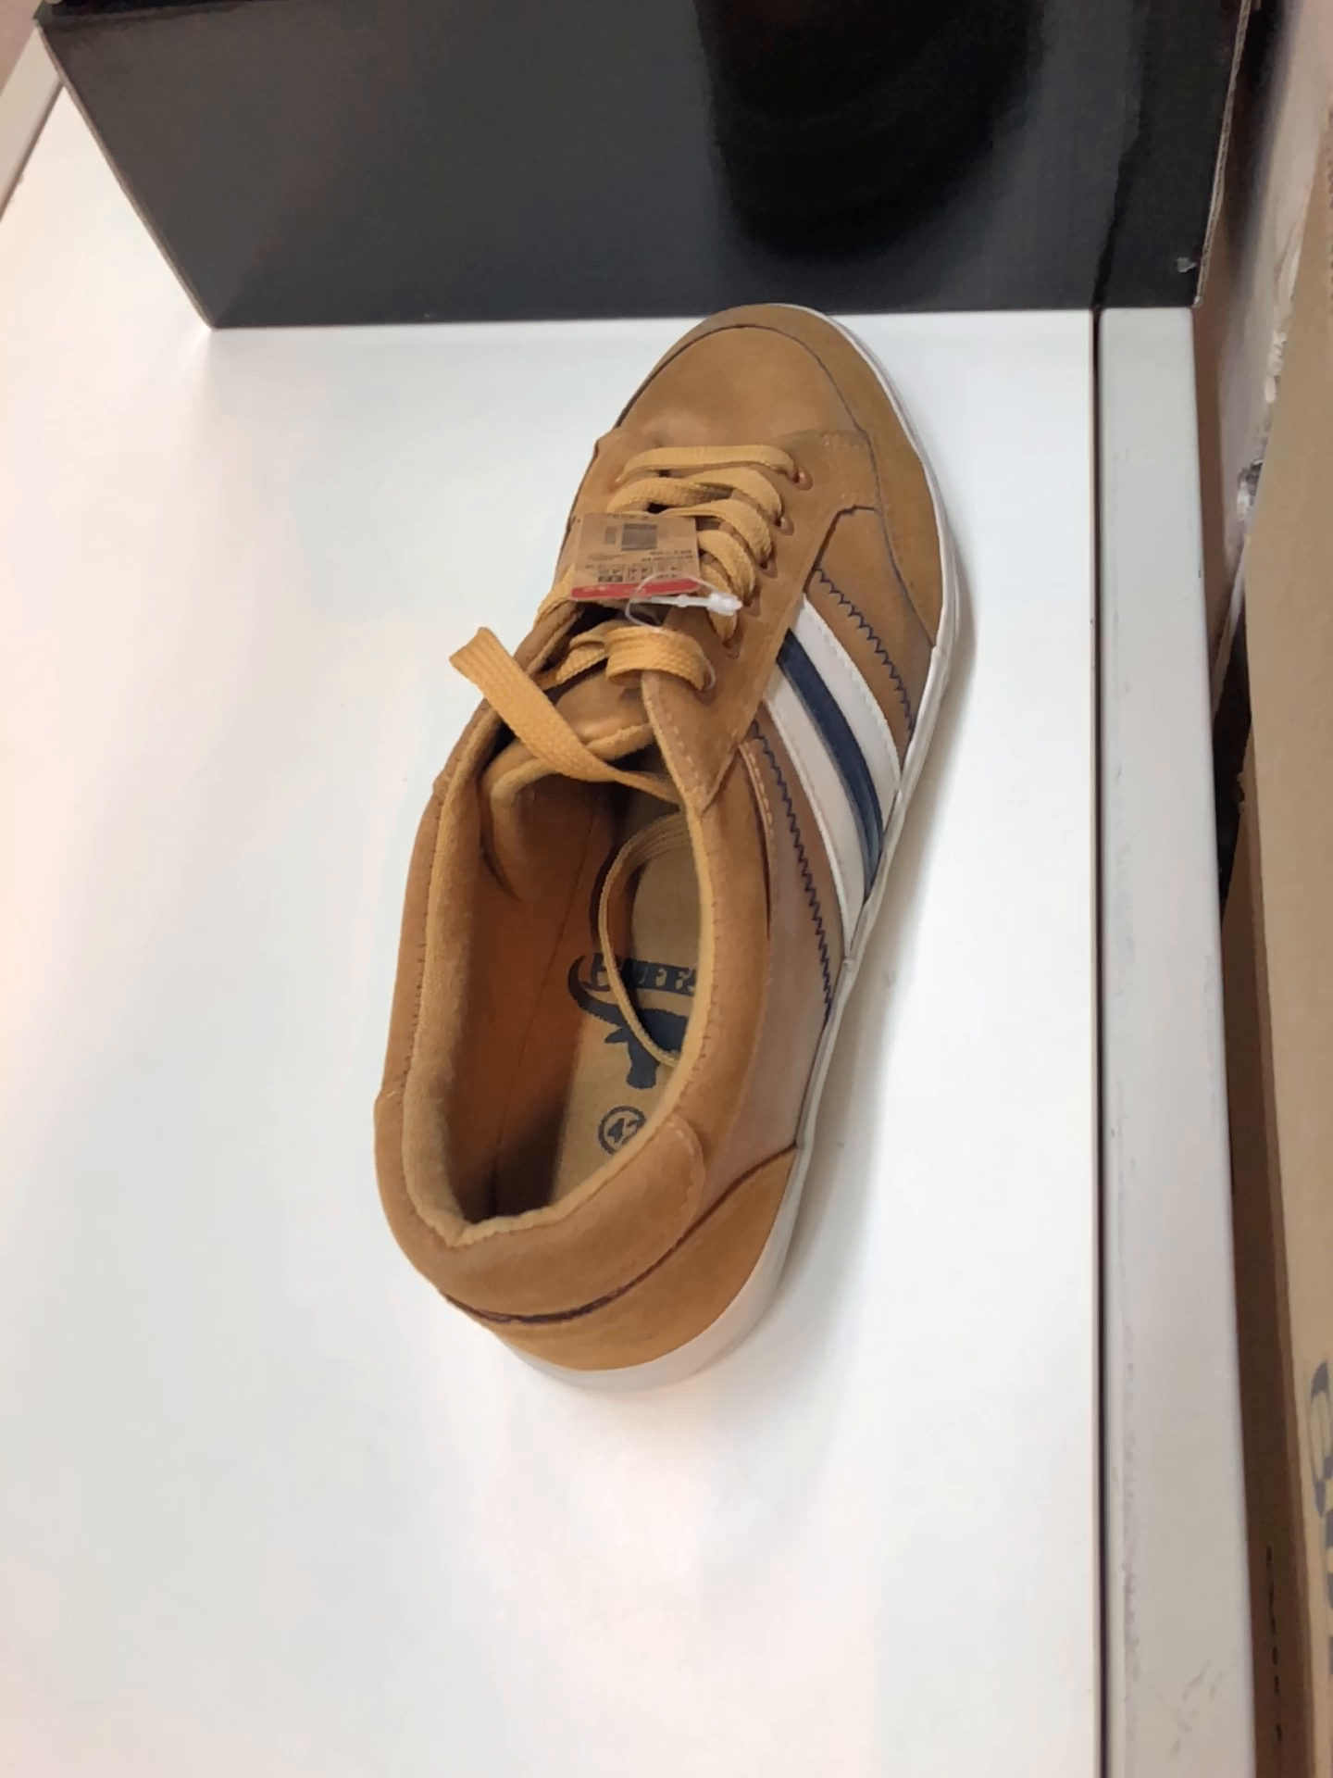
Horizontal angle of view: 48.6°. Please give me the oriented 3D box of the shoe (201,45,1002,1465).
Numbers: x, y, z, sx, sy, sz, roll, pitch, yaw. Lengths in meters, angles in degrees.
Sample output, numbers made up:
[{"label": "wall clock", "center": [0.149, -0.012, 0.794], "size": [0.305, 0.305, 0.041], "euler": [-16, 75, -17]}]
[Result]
[{"label": "shoe", "center": [0.010, -0.040, 0.331], "size": [0.105, 0.104, 0.295], "euler": [4, 65, 14]}]
